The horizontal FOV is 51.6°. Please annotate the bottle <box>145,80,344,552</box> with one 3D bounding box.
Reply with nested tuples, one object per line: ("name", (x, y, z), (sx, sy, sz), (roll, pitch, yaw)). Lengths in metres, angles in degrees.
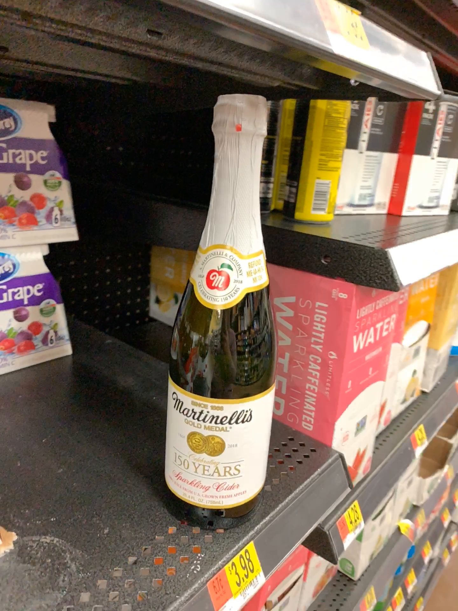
("bottle", (0.007, 0.012, 0.338), (0.089, 0.299, 0.090), (5, 19, -2))
